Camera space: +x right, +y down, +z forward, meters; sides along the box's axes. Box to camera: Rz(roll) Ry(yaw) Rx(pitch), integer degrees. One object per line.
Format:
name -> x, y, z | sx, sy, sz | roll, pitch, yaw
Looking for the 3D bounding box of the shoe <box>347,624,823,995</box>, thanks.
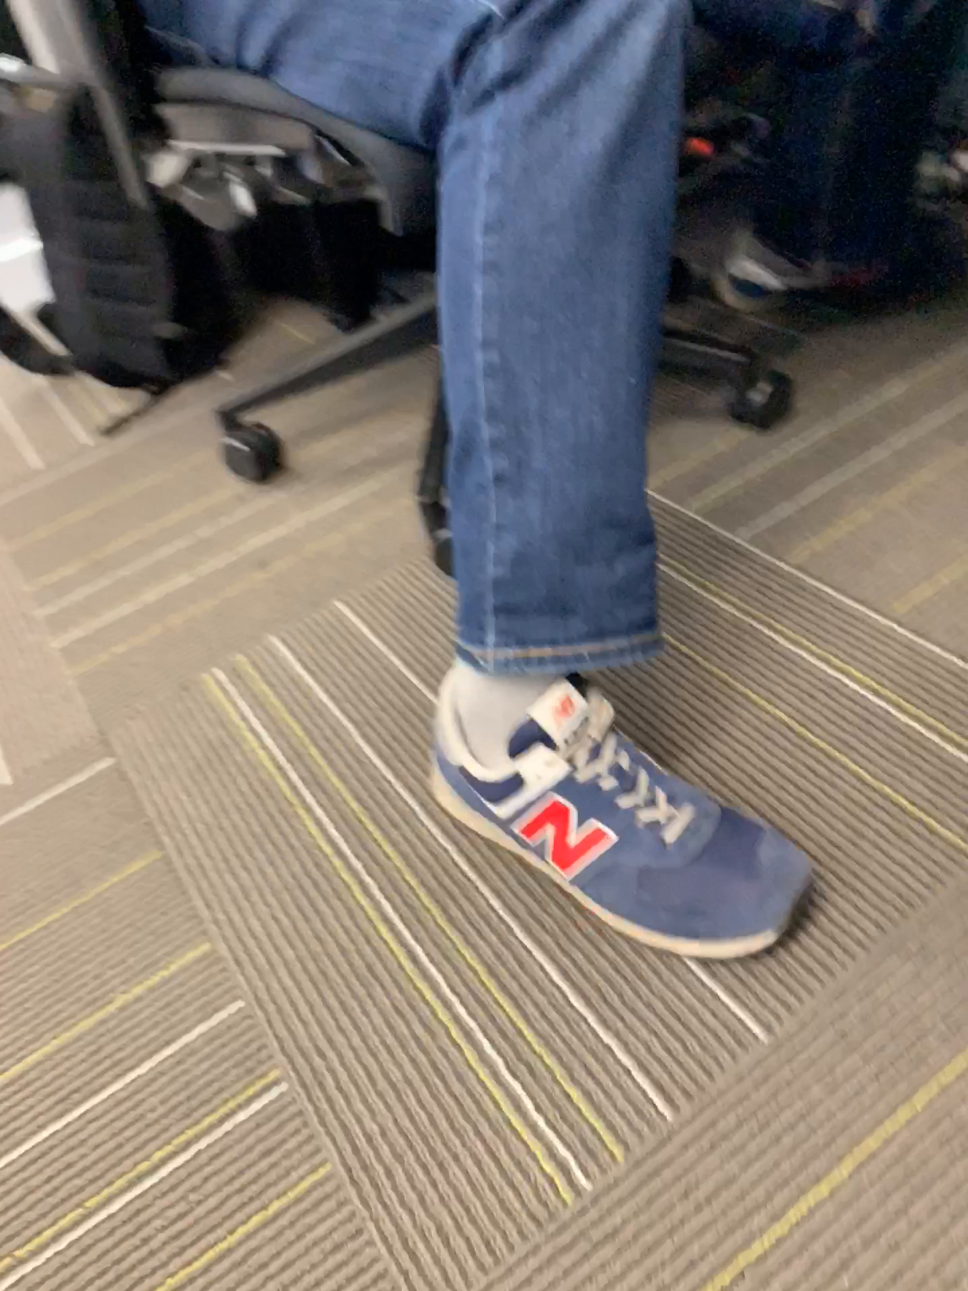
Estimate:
shoe -> 0.070, 0.106, 0.714 | 0.308, 0.138, 0.108 | 16, 49, 31
